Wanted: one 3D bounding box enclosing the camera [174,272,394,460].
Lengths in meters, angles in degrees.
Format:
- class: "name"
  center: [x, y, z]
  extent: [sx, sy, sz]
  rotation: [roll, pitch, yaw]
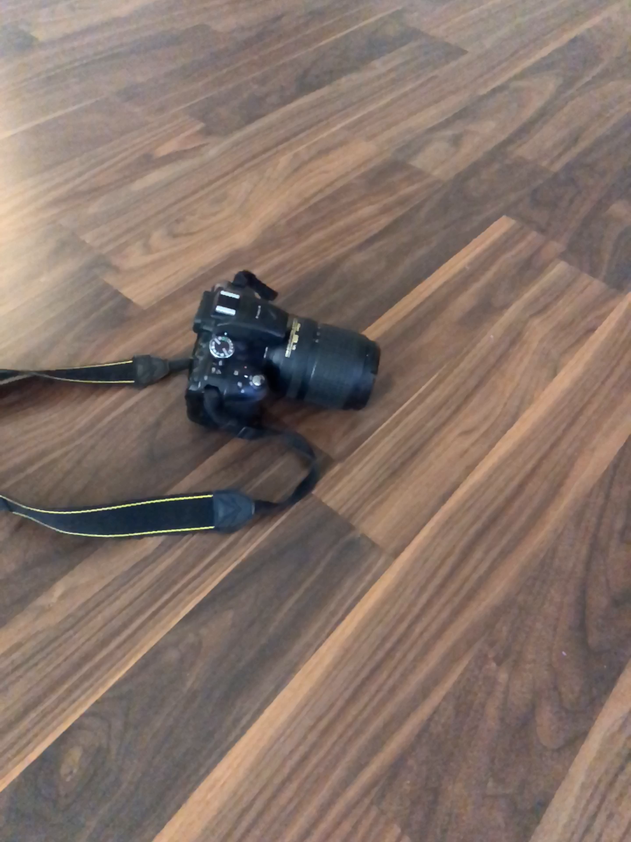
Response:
- class: "camera"
  center: [-0.022, -0.048, 0.582]
  extent: [0.160, 0.070, 0.120]
  rotation: [9, 50, 1]
